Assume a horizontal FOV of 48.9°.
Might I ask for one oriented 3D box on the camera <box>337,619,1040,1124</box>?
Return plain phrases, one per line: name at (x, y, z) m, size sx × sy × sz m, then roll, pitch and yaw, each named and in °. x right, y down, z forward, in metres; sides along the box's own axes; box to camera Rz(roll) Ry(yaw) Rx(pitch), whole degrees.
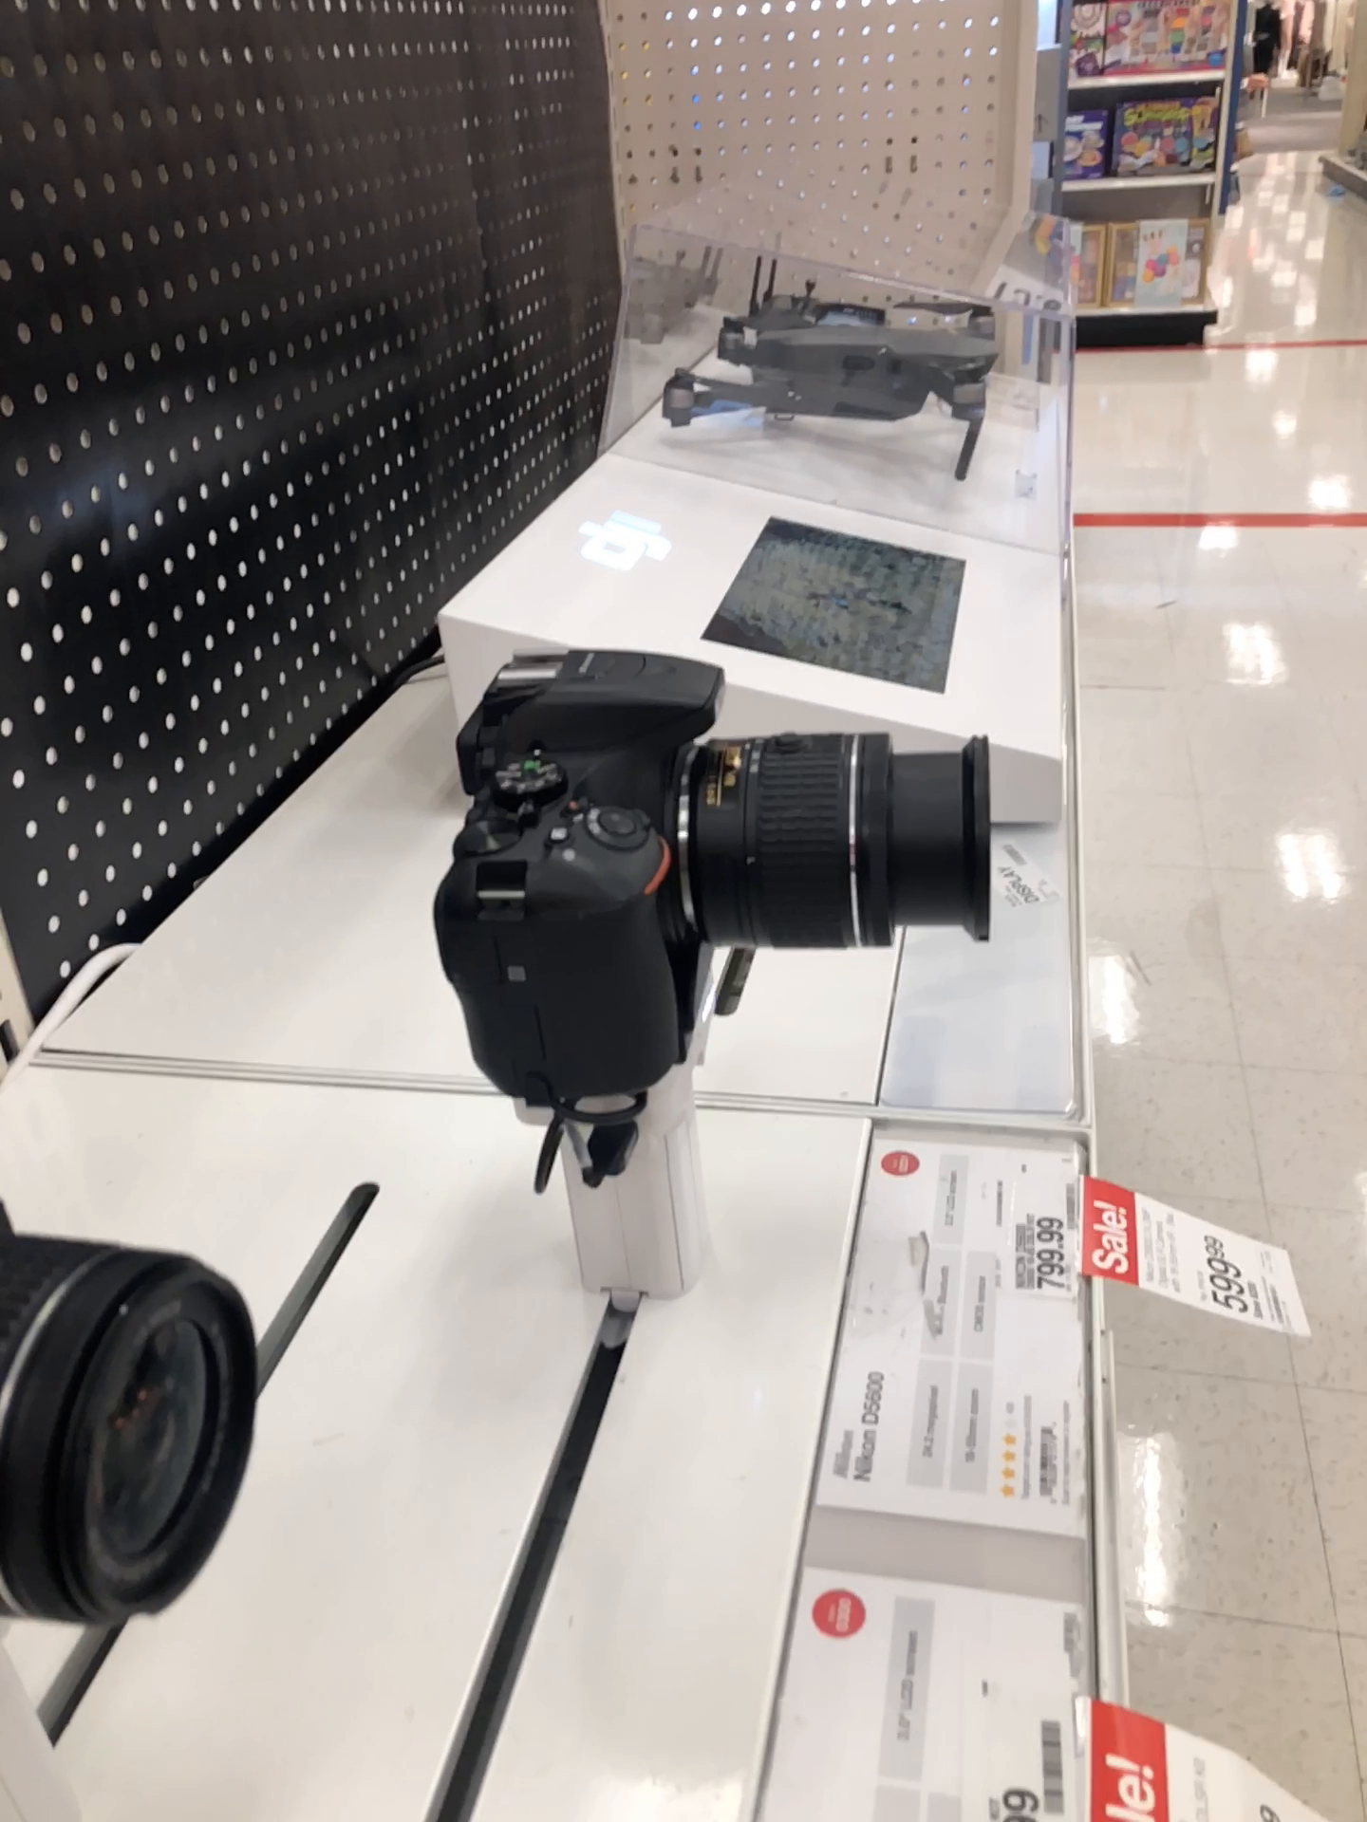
camera at (0.011, -0.020, 0.435) m, size 0.170 × 0.090 × 0.131 m, roll 2°, pitch 30°, yaw 10°
